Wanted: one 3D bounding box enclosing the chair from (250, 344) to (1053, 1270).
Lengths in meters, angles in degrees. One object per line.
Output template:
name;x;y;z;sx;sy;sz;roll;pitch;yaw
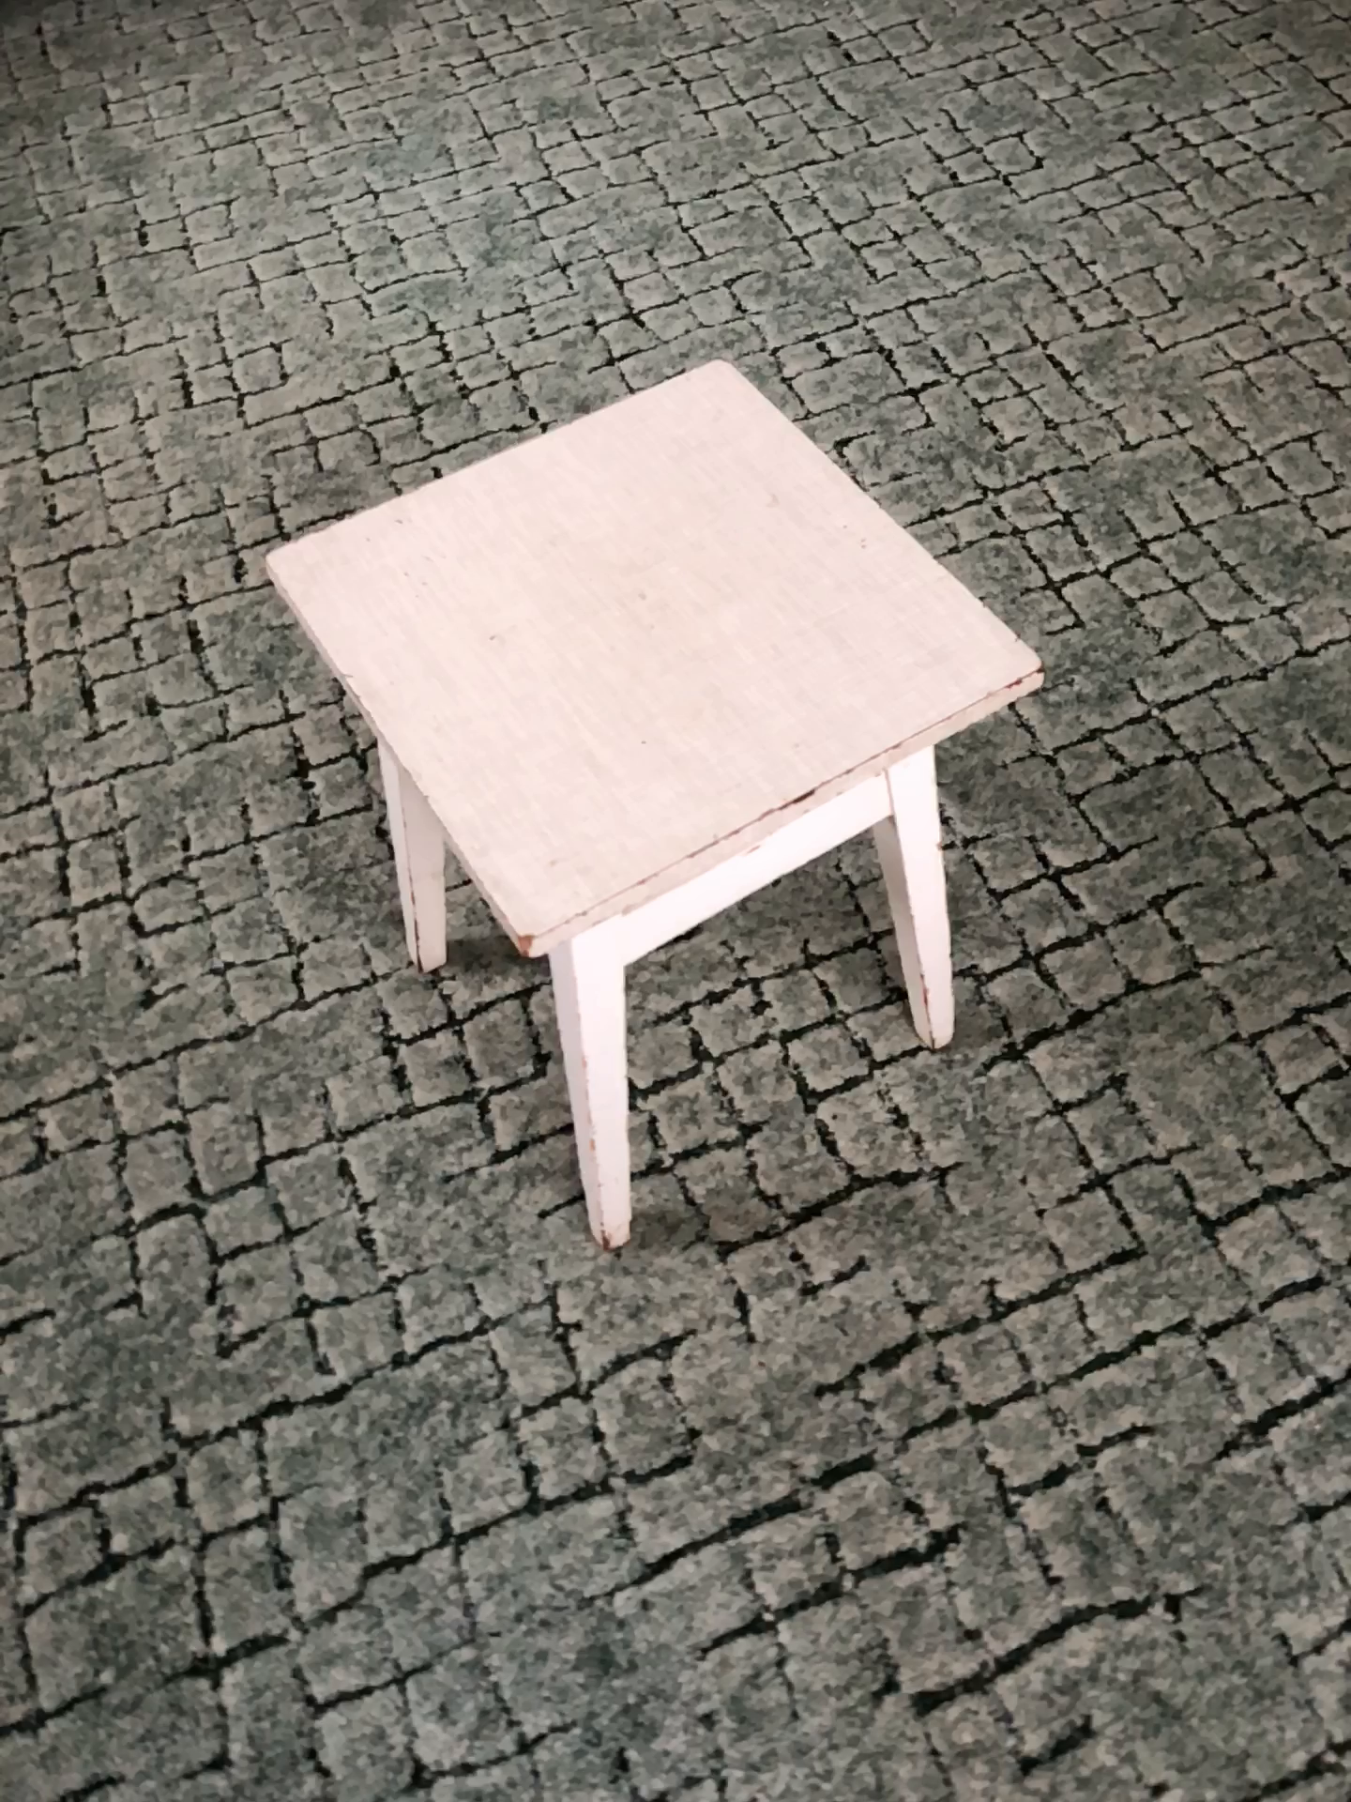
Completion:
chair;-0.012;-0.046;1.022;0.332;0.447;0.336;-28;59;-14
